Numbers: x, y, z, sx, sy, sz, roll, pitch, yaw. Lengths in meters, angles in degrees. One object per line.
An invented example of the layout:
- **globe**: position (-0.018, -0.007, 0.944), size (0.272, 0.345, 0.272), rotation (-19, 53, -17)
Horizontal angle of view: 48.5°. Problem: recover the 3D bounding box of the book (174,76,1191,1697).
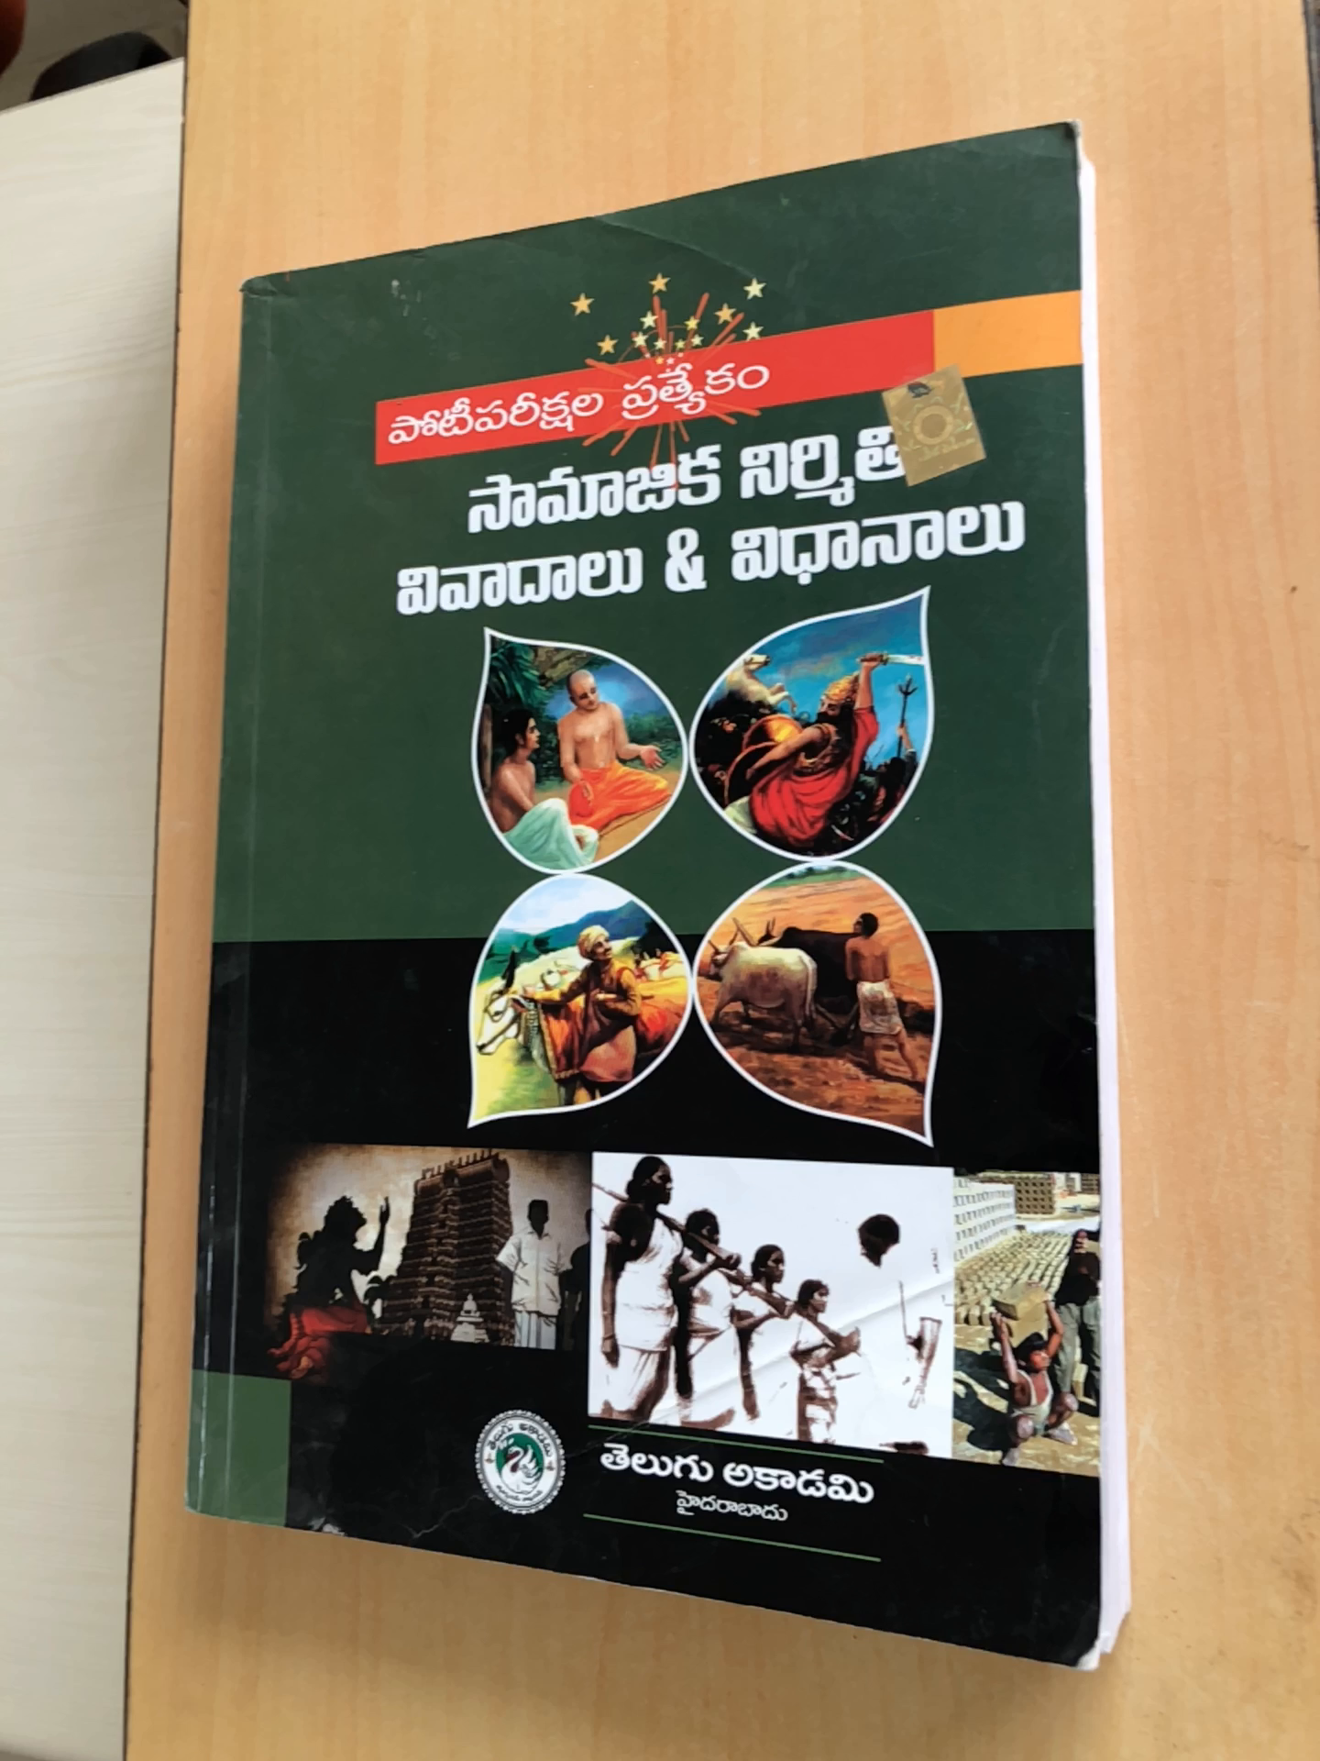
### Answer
- **book**: position (0.003, -0.002, 0.298), size (0.190, 0.050, 0.270), rotation (-2, 83, 20)
